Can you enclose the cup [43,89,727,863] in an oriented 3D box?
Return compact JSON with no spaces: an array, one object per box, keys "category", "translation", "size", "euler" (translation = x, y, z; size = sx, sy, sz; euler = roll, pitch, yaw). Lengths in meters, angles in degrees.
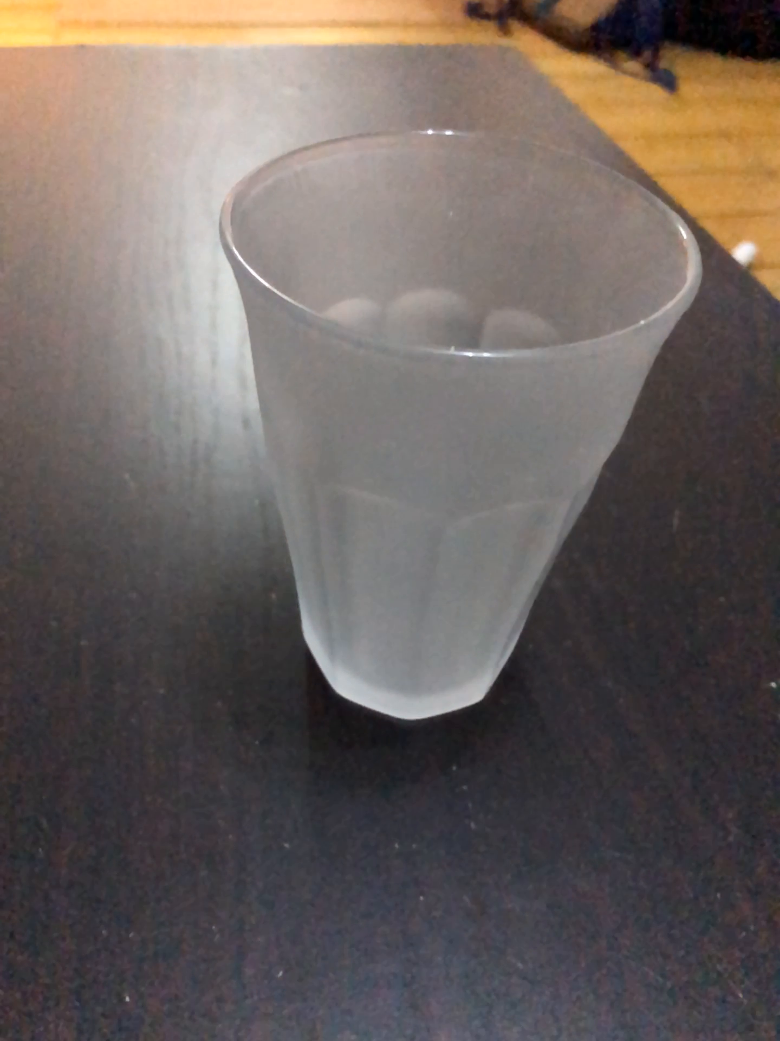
[{"category":"cup","translation":[0.001,-0.012,0.210],"size":[0.090,0.129,0.101],"euler":[27,48,20]}]
